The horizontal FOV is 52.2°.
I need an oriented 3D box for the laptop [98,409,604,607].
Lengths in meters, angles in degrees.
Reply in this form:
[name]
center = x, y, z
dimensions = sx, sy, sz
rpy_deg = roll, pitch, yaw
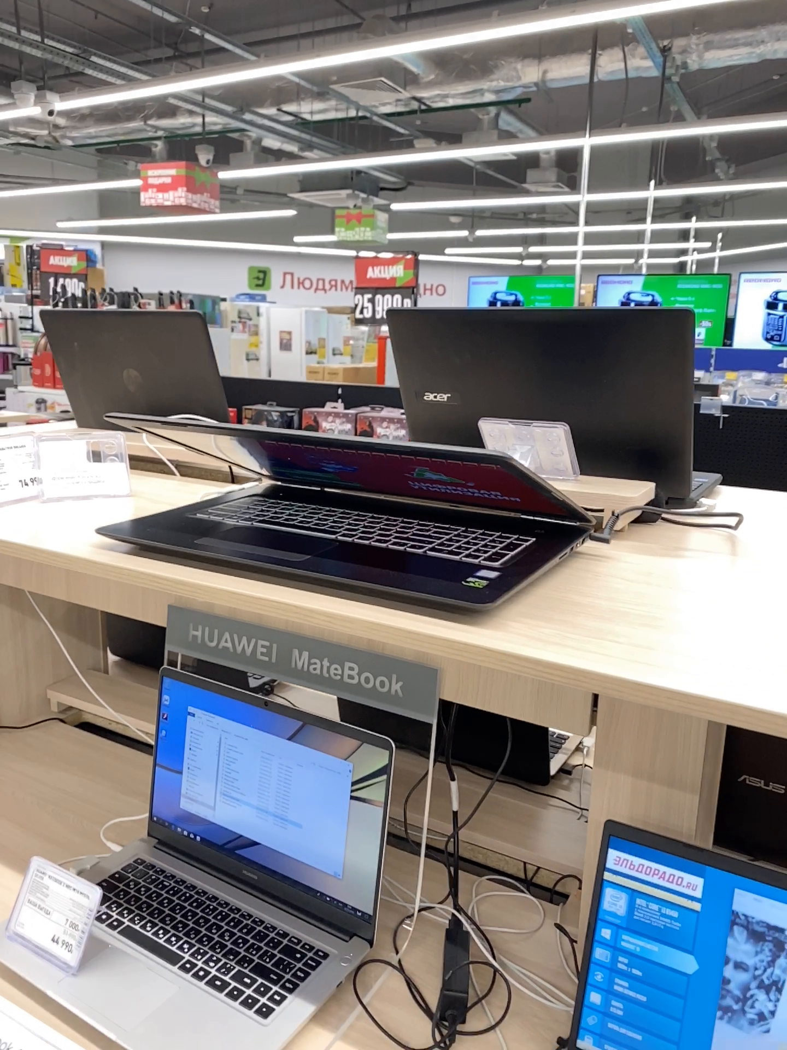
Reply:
[laptop]
center = -0.040, -0.042, 0.789
dimensions = 0.414, 0.095, 0.269
rpy_deg = 8, 16, 29
